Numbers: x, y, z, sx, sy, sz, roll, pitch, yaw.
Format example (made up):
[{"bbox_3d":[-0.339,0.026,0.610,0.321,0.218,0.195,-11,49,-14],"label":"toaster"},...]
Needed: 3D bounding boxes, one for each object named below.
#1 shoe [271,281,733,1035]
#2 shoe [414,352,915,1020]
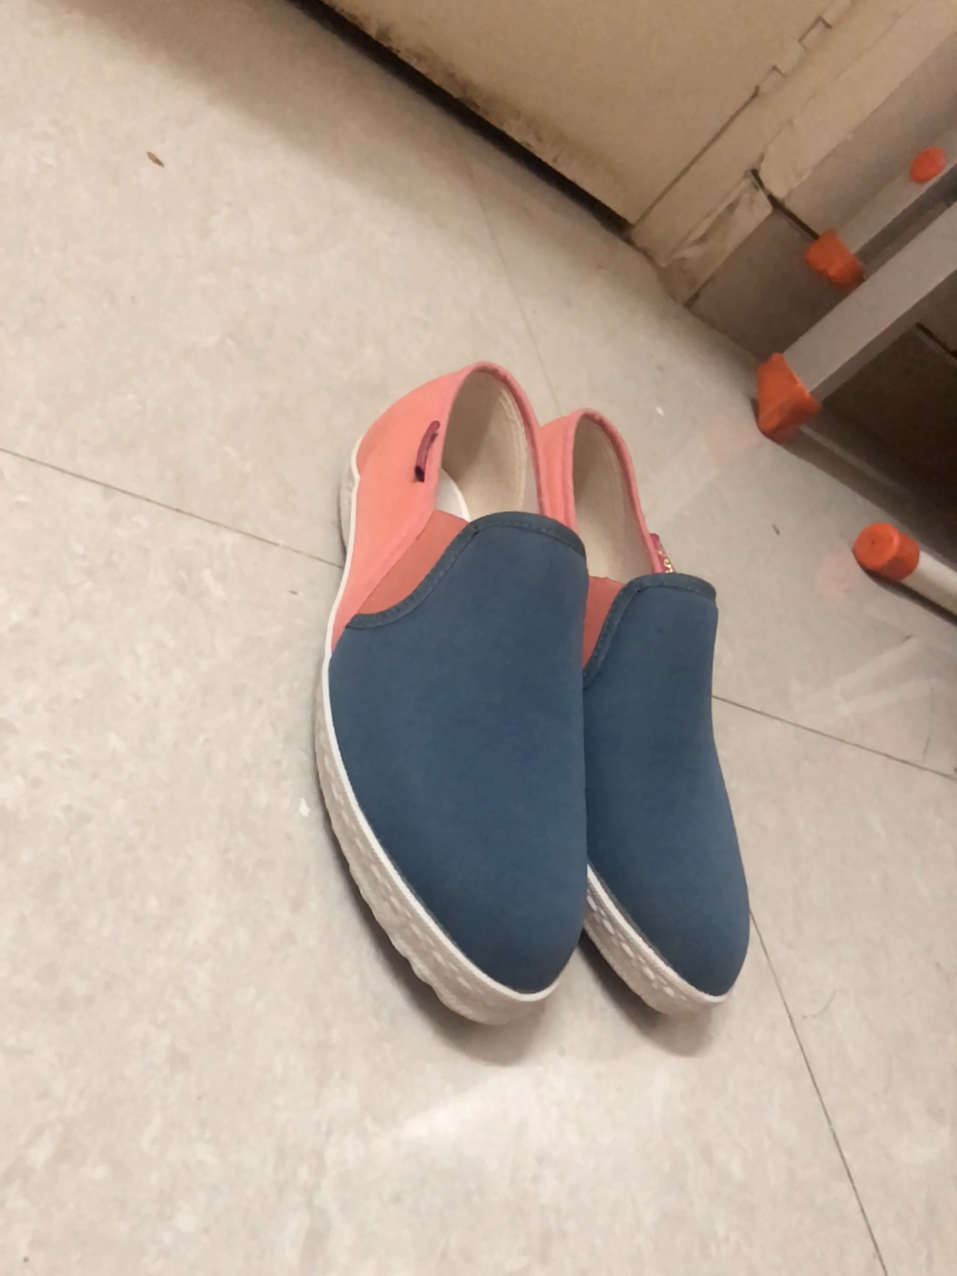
[{"bbox_3d":[-0.006,-0.004,0.325,0.090,0.060,0.221,22,41,-34],"label":"shoe"},{"bbox_3d":[0.052,0.011,0.367,0.090,0.060,0.221,17,44,-39],"label":"shoe"}]
